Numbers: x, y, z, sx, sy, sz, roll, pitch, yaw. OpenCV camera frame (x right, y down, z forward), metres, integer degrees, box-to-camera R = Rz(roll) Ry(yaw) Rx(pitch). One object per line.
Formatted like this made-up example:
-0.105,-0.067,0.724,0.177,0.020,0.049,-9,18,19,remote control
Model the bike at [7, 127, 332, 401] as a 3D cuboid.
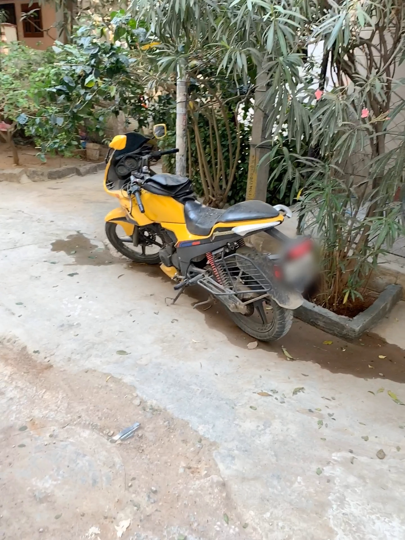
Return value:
-0.313,-0.224,2.585,1.750,0.954,0.855,28,34,36,bike
